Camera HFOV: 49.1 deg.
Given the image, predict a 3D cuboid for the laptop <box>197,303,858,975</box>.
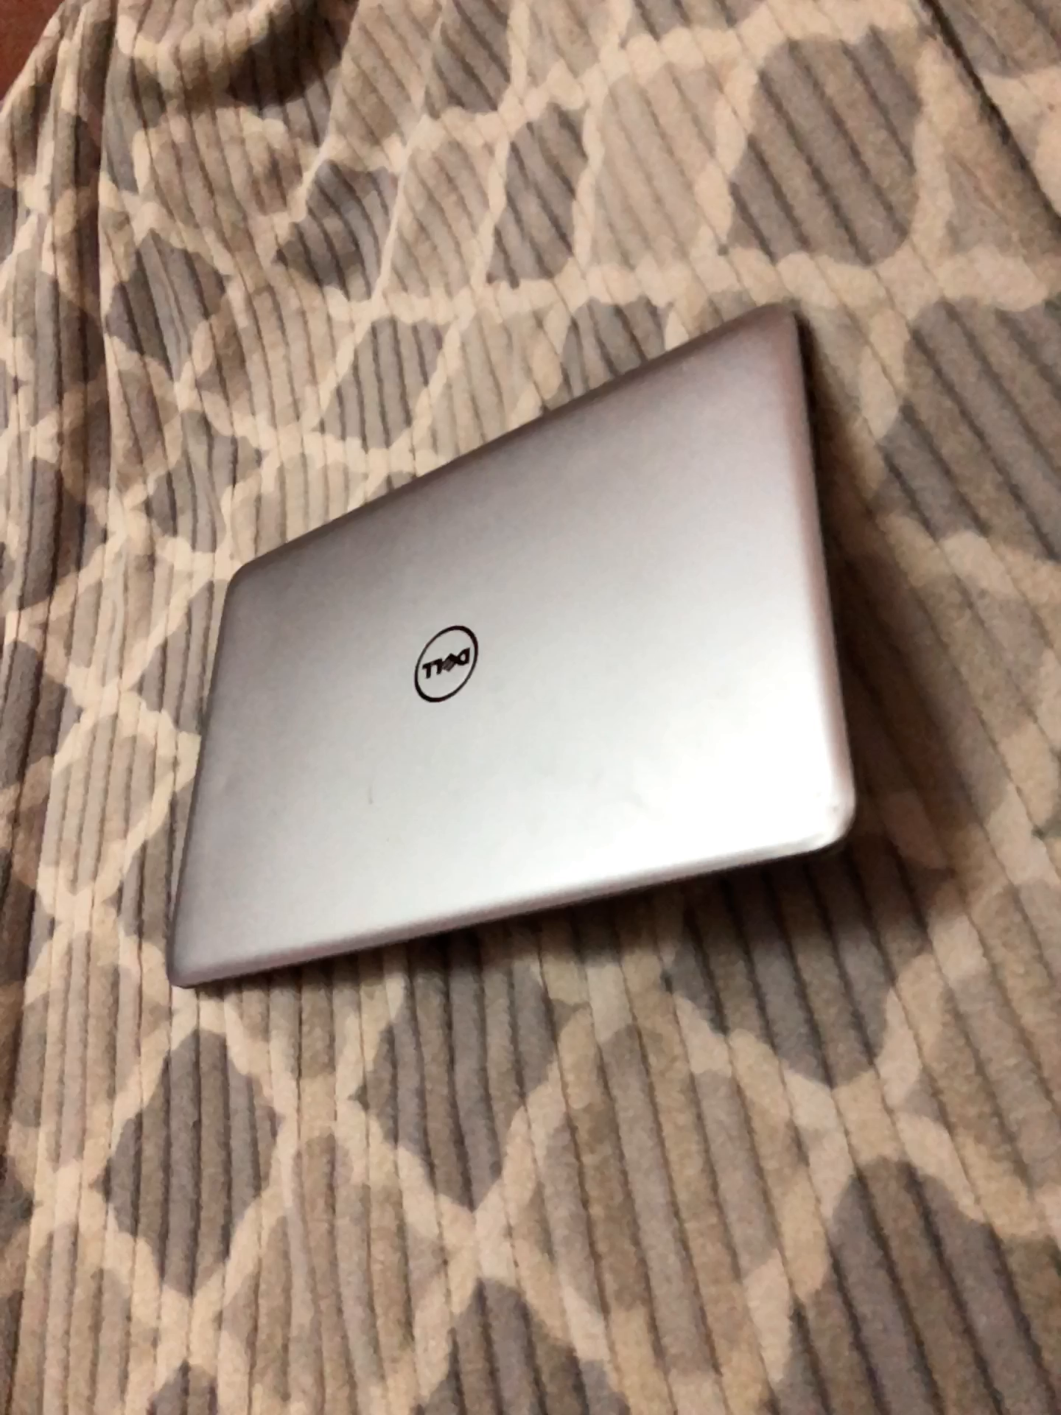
[{"bbox_3d":[-0.028,-0.021,0.569,0.360,0.007,0.252,-19,58,32],"label":"laptop"}]
